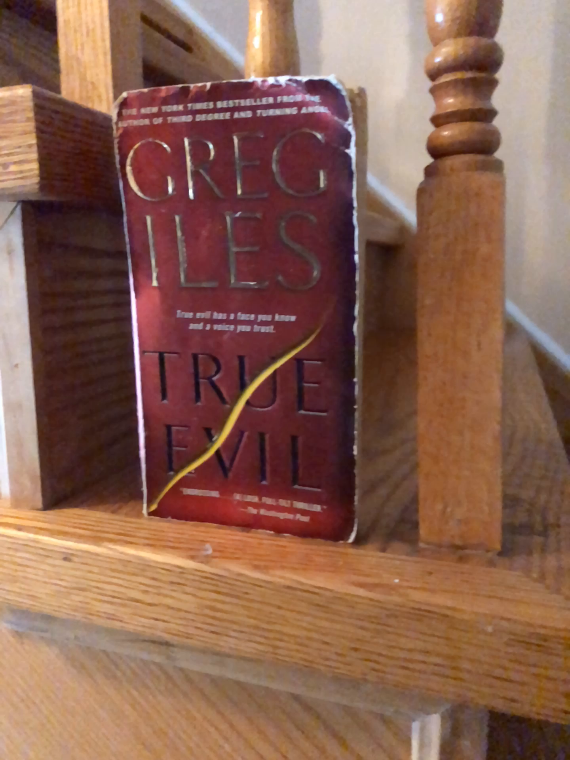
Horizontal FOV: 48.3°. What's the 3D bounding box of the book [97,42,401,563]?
[{"bbox_3d":[-0.011,-0.032,0.303,0.120,0.205,0.068,2,10,19],"label":"book"}]
